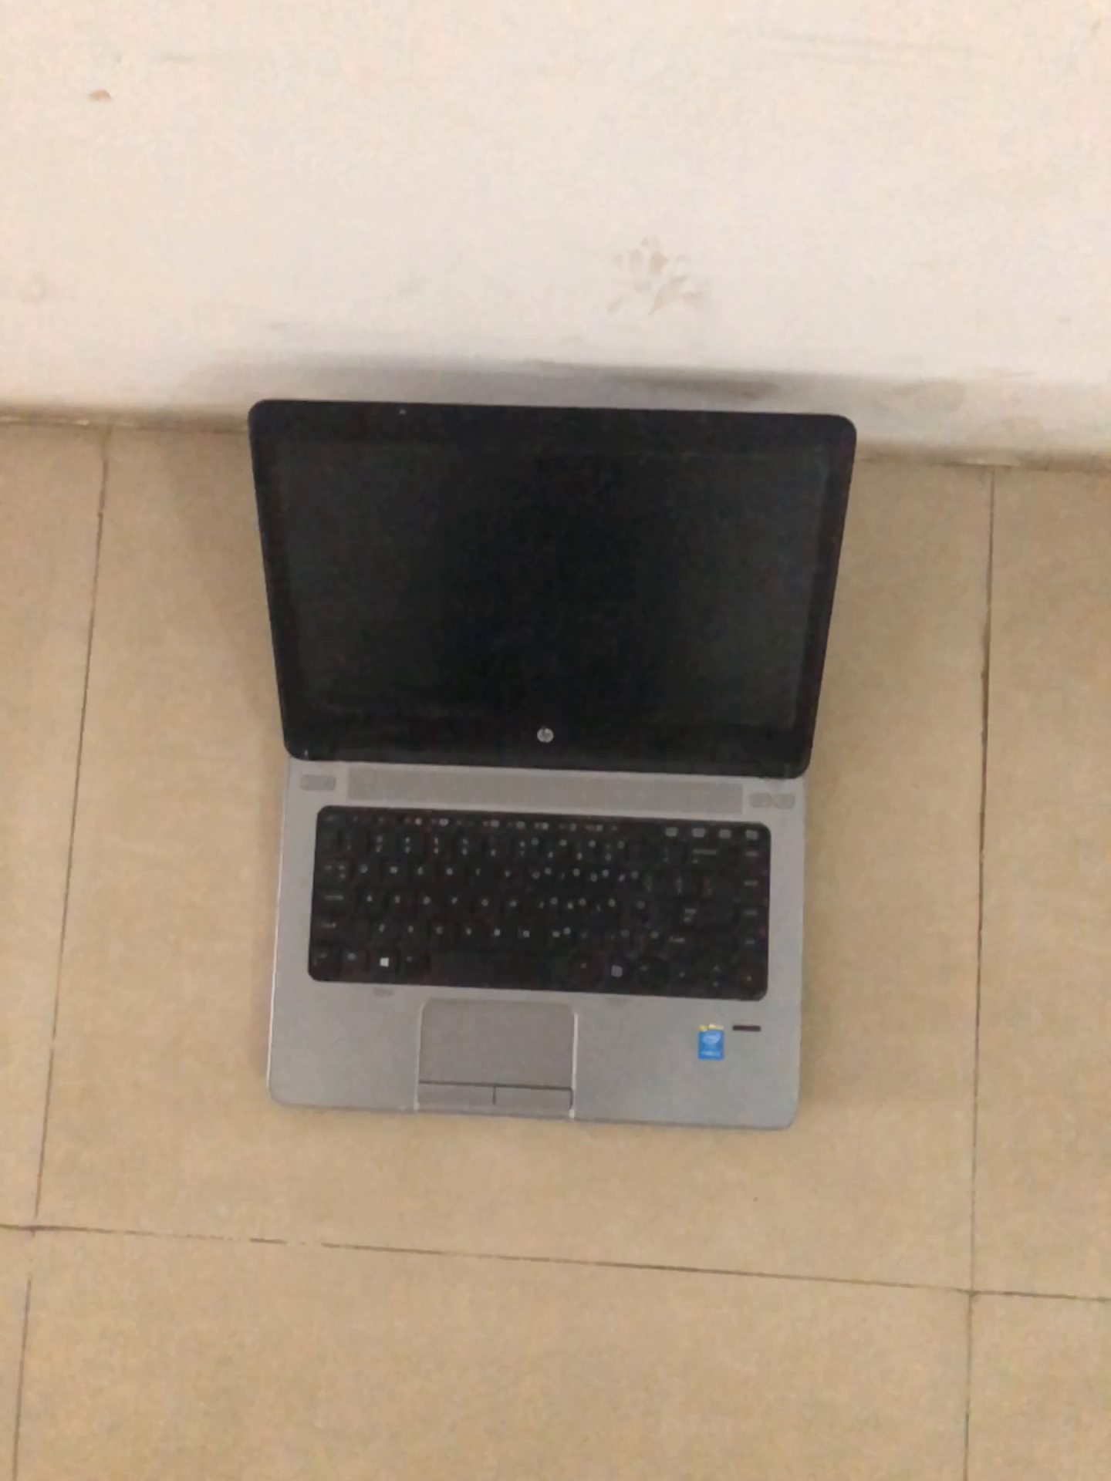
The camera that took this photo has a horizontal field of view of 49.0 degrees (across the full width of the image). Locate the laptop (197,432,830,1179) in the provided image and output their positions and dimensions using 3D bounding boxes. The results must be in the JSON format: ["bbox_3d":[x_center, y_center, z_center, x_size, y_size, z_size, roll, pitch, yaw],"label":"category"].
[{"bbox_3d":[-0.014,0.032,0.721,0.318,0.146,0.385,2,82,1],"label":"laptop"}]
